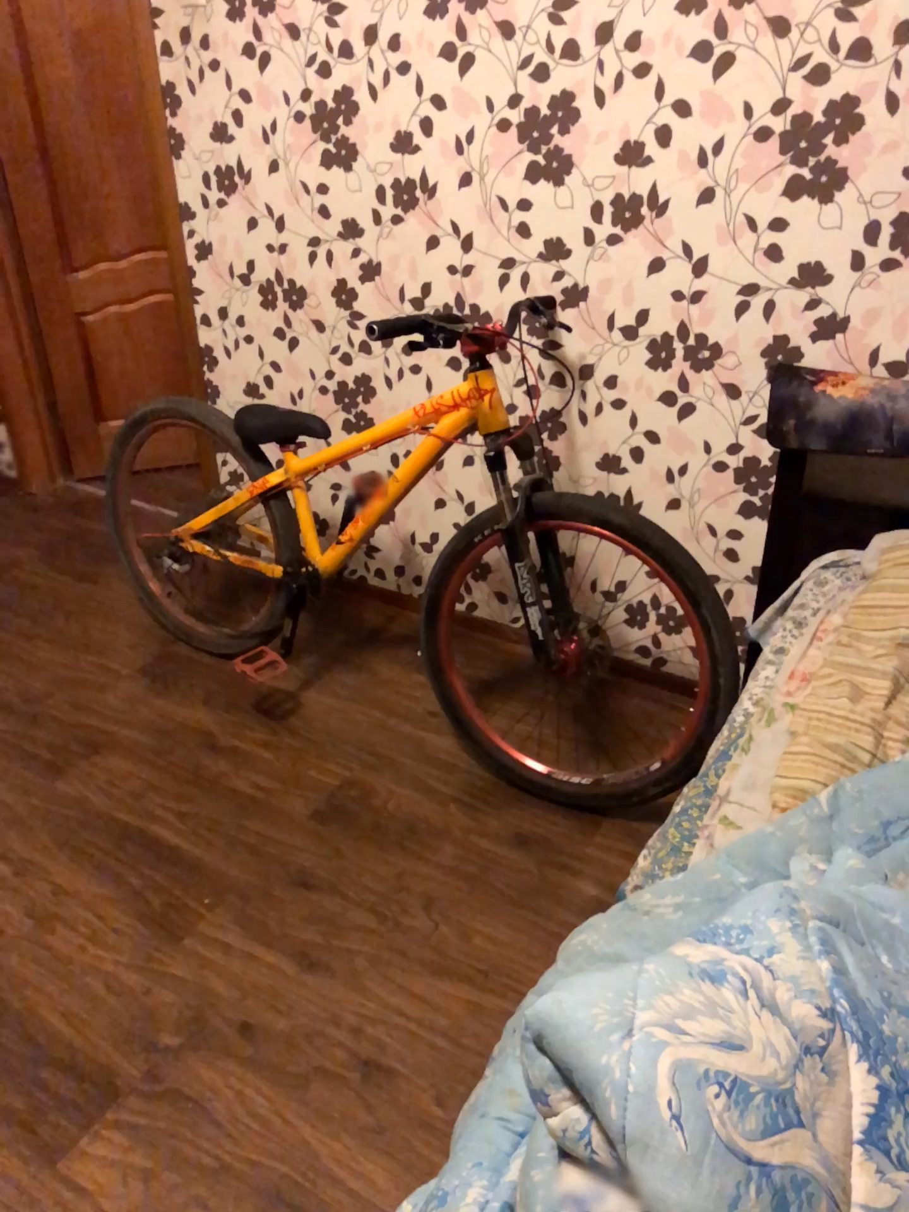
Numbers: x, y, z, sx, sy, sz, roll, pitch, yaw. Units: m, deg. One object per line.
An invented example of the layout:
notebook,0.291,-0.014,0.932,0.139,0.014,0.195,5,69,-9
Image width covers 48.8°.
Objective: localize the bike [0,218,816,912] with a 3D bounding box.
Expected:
bike,-0.232,-0.240,2.155,1.678,1.005,0.663,15,34,31
